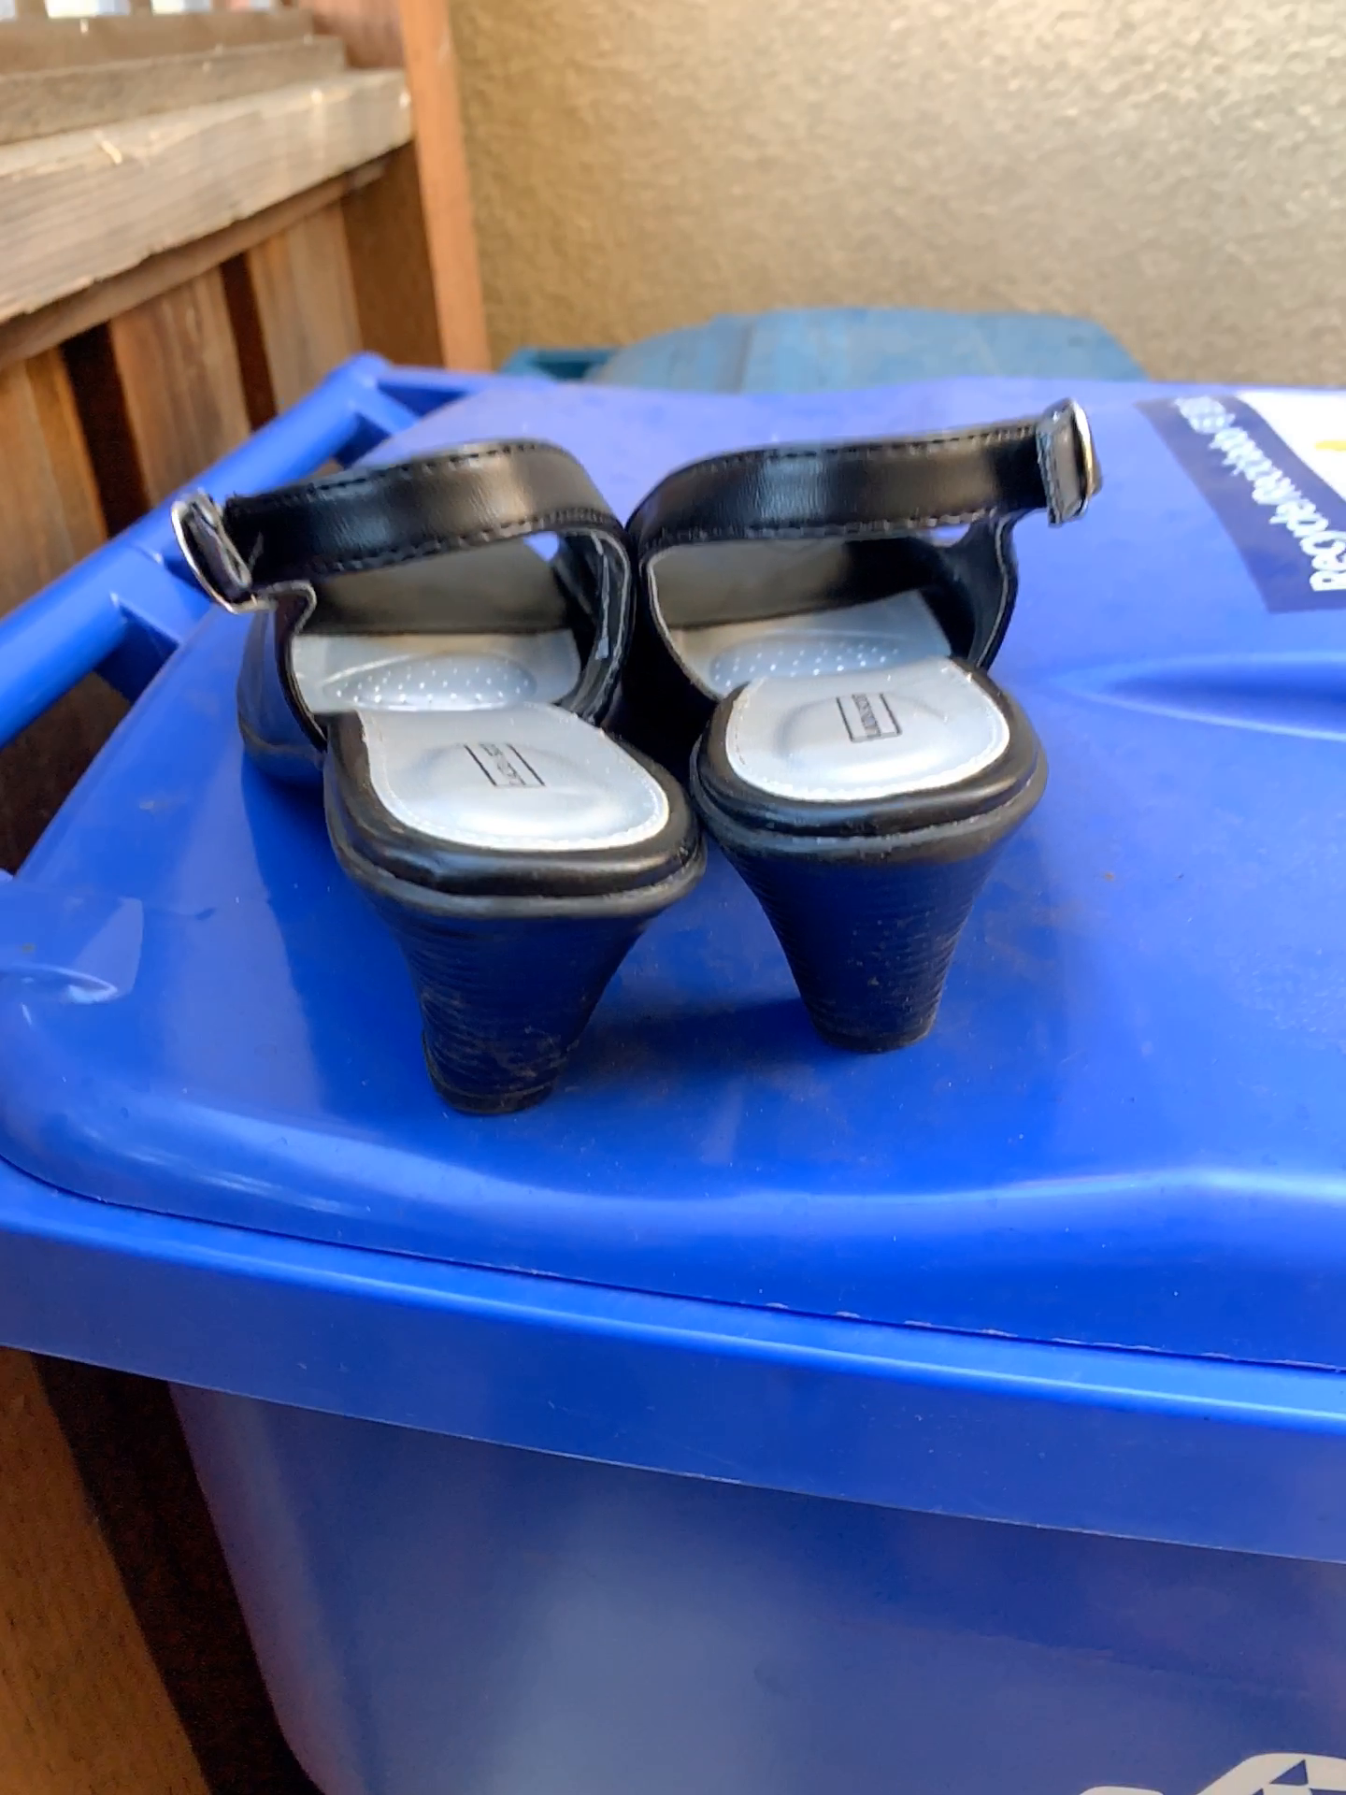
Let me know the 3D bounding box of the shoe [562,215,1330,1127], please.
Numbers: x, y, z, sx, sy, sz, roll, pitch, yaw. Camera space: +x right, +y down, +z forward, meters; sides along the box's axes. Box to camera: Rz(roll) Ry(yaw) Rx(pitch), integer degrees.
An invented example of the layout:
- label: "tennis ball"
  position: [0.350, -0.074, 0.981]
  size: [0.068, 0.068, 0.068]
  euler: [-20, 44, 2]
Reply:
- label: "shoe"
  position: [0.028, -0.076, 0.305]
  size: [0.090, 0.099, 0.252]
  euler: [-5, 32, -3]

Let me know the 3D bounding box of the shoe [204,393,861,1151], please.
- label: "shoe"
  position: [-0.054, -0.053, 0.316]
  size: [0.090, 0.089, 0.252]
  euler: [0, 23, -17]
